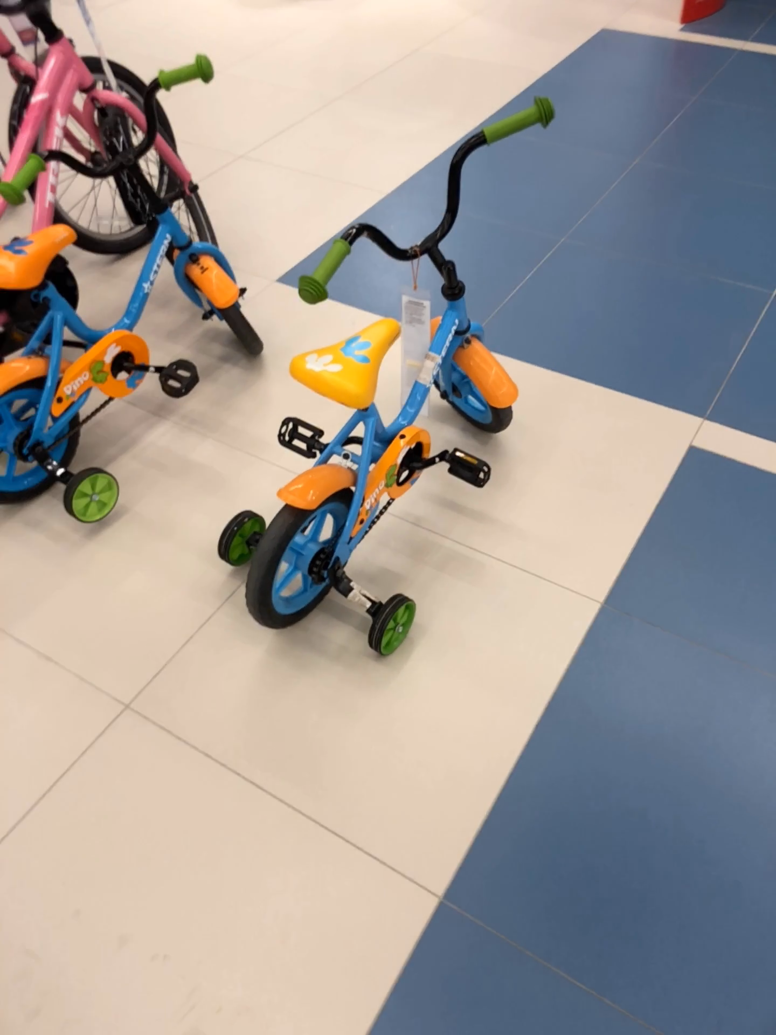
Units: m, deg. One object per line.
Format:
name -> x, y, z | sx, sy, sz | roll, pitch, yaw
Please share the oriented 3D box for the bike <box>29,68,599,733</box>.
bike -> -0.039, -0.238, 1.412 | 0.565, 0.681, 0.754 | 15, 47, 17
